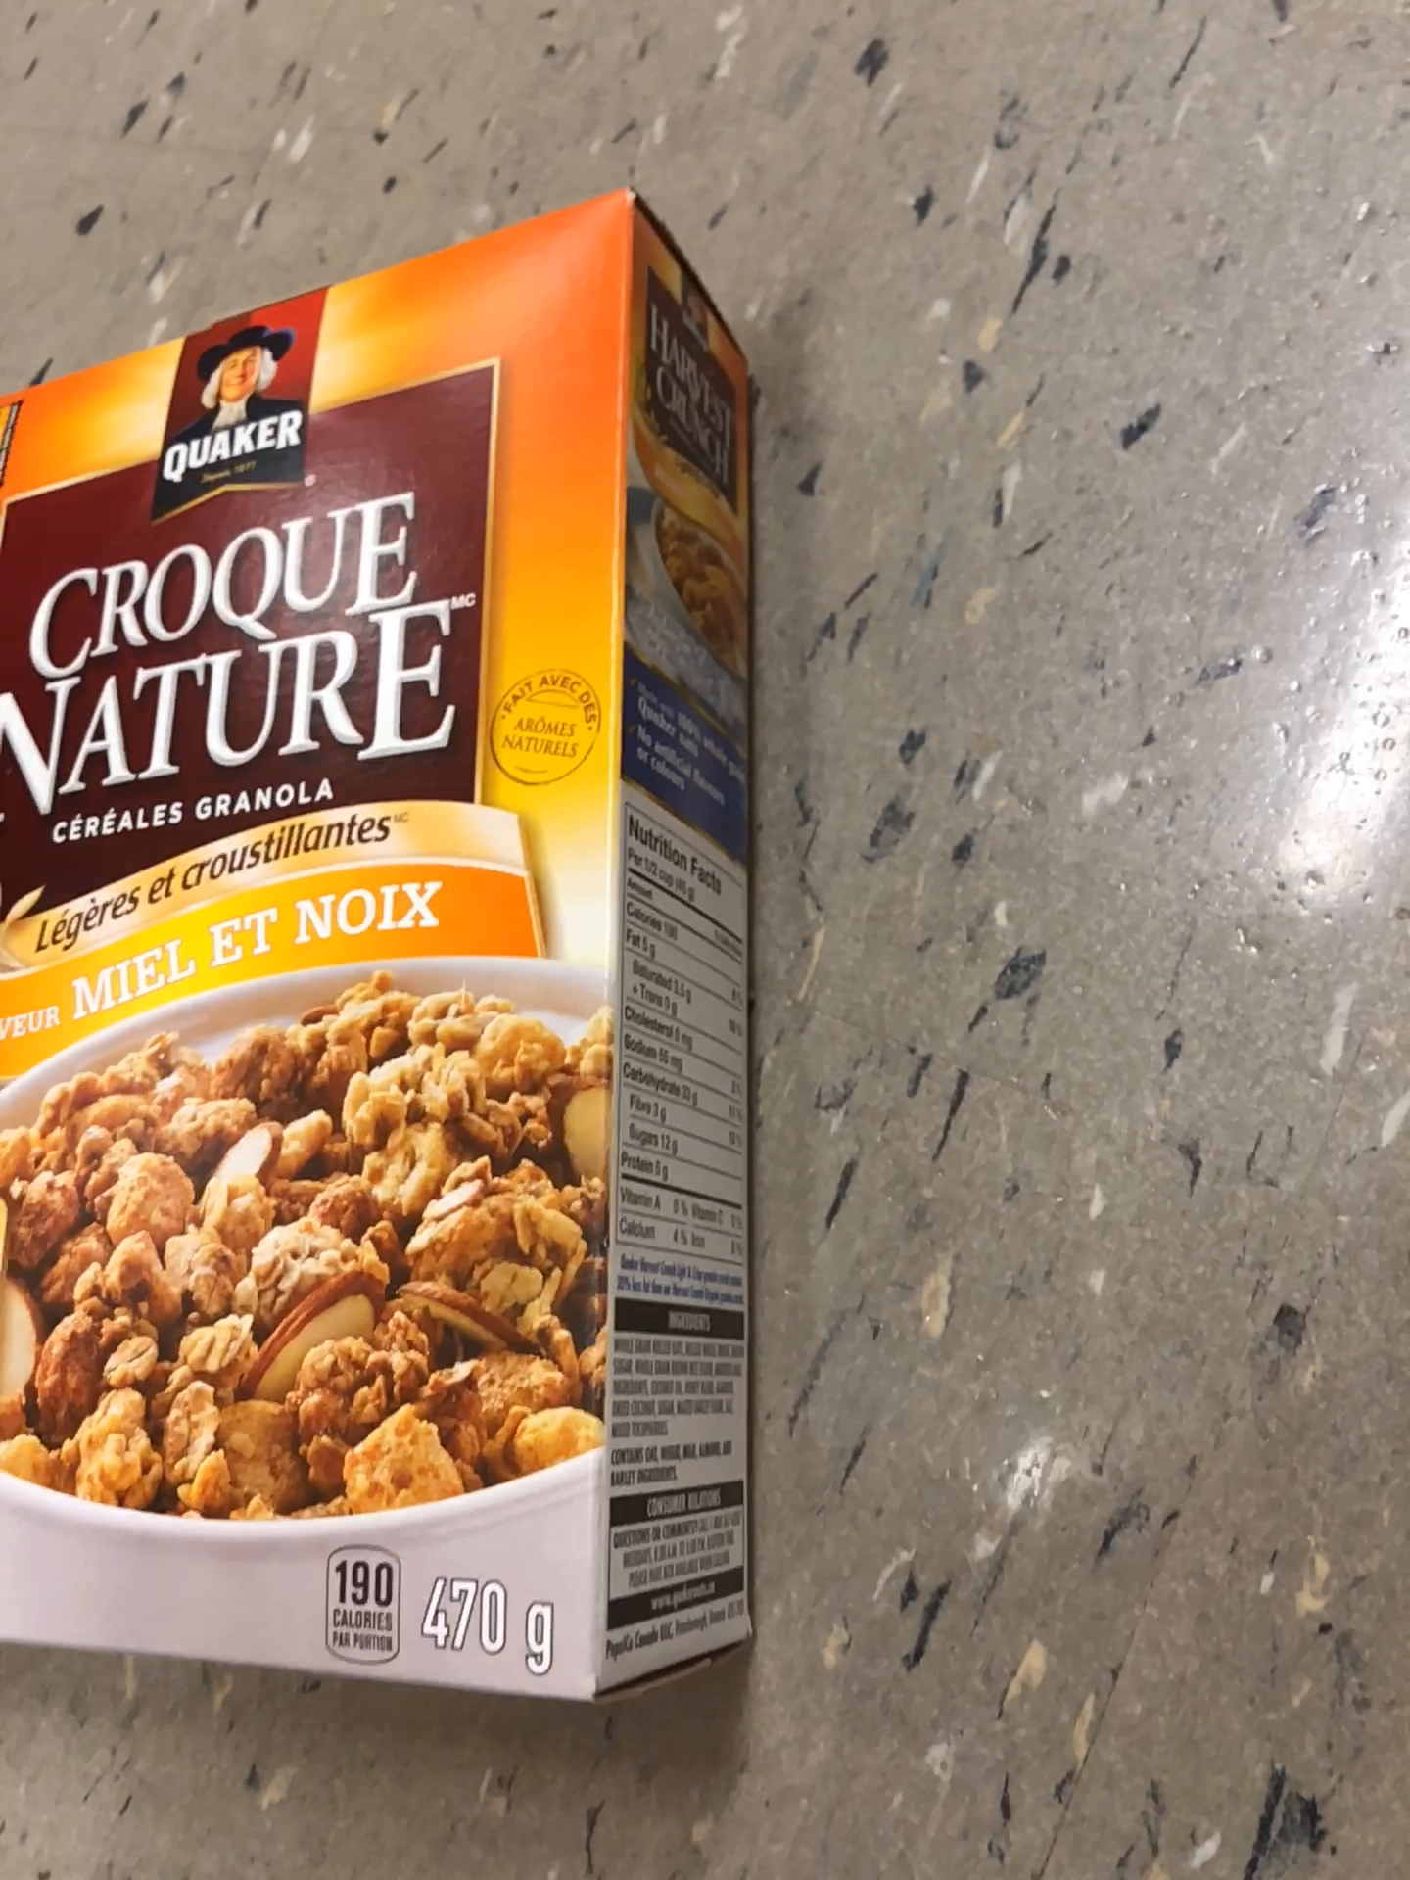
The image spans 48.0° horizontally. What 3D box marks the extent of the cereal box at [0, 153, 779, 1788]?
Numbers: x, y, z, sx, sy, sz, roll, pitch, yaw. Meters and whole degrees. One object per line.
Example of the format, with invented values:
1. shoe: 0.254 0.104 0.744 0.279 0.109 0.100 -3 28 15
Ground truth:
1. cereal box: -0.072 0.003 0.280 0.160 0.050 0.240 -7 74 23
